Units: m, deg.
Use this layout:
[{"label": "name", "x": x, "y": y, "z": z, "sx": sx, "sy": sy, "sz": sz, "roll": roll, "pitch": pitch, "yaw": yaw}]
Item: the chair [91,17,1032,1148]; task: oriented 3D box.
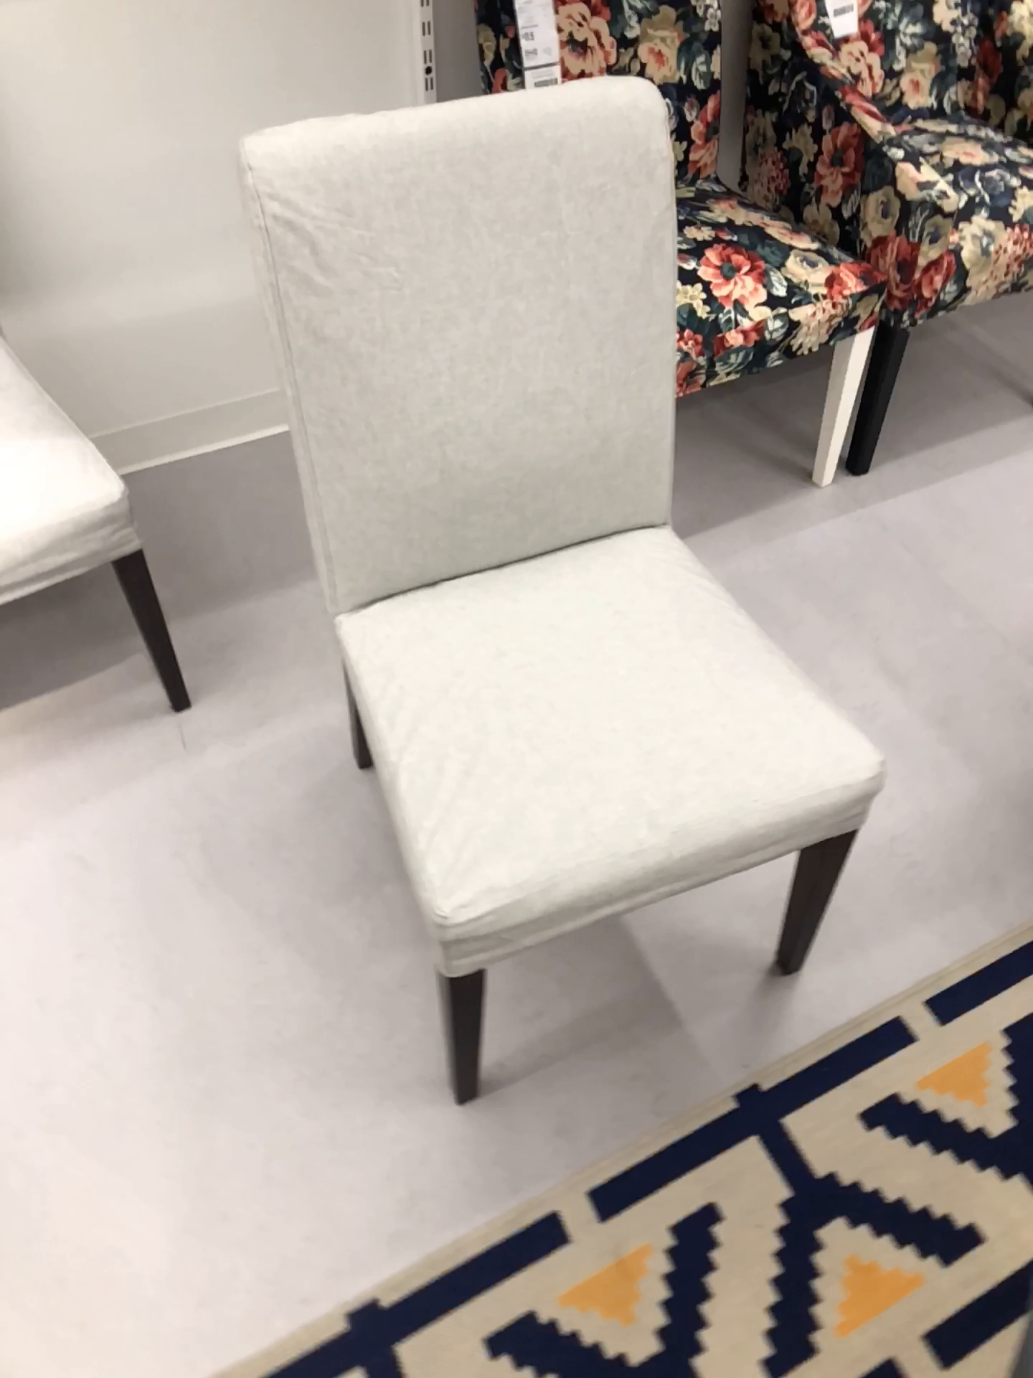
[{"label": "chair", "x": 0.010, "y": -0.087, "z": 1.176, "sx": 0.560, "sy": 0.855, "sz": 0.644, "roll": -18, "pitch": 51, "yaw": -16}]
